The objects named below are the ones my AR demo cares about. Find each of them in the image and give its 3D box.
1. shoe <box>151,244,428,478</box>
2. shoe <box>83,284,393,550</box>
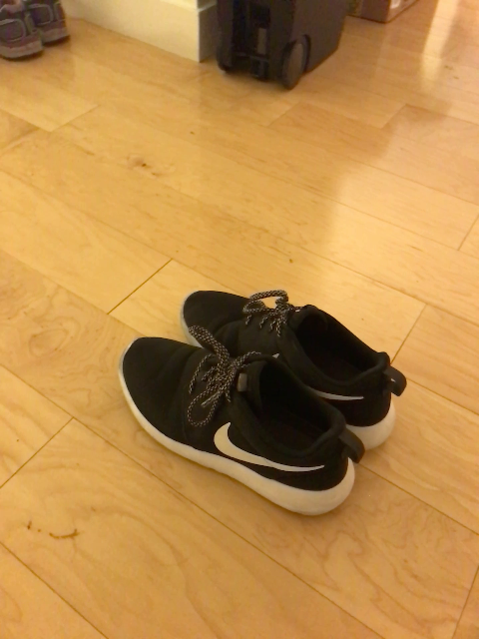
[{"bbox_3d":[0.045,0.035,0.571,0.270,0.089,0.111,30,53,22],"label":"shoe"},{"bbox_3d":[-0.008,0.085,0.512,0.270,0.089,0.111,28,53,20],"label":"shoe"}]
